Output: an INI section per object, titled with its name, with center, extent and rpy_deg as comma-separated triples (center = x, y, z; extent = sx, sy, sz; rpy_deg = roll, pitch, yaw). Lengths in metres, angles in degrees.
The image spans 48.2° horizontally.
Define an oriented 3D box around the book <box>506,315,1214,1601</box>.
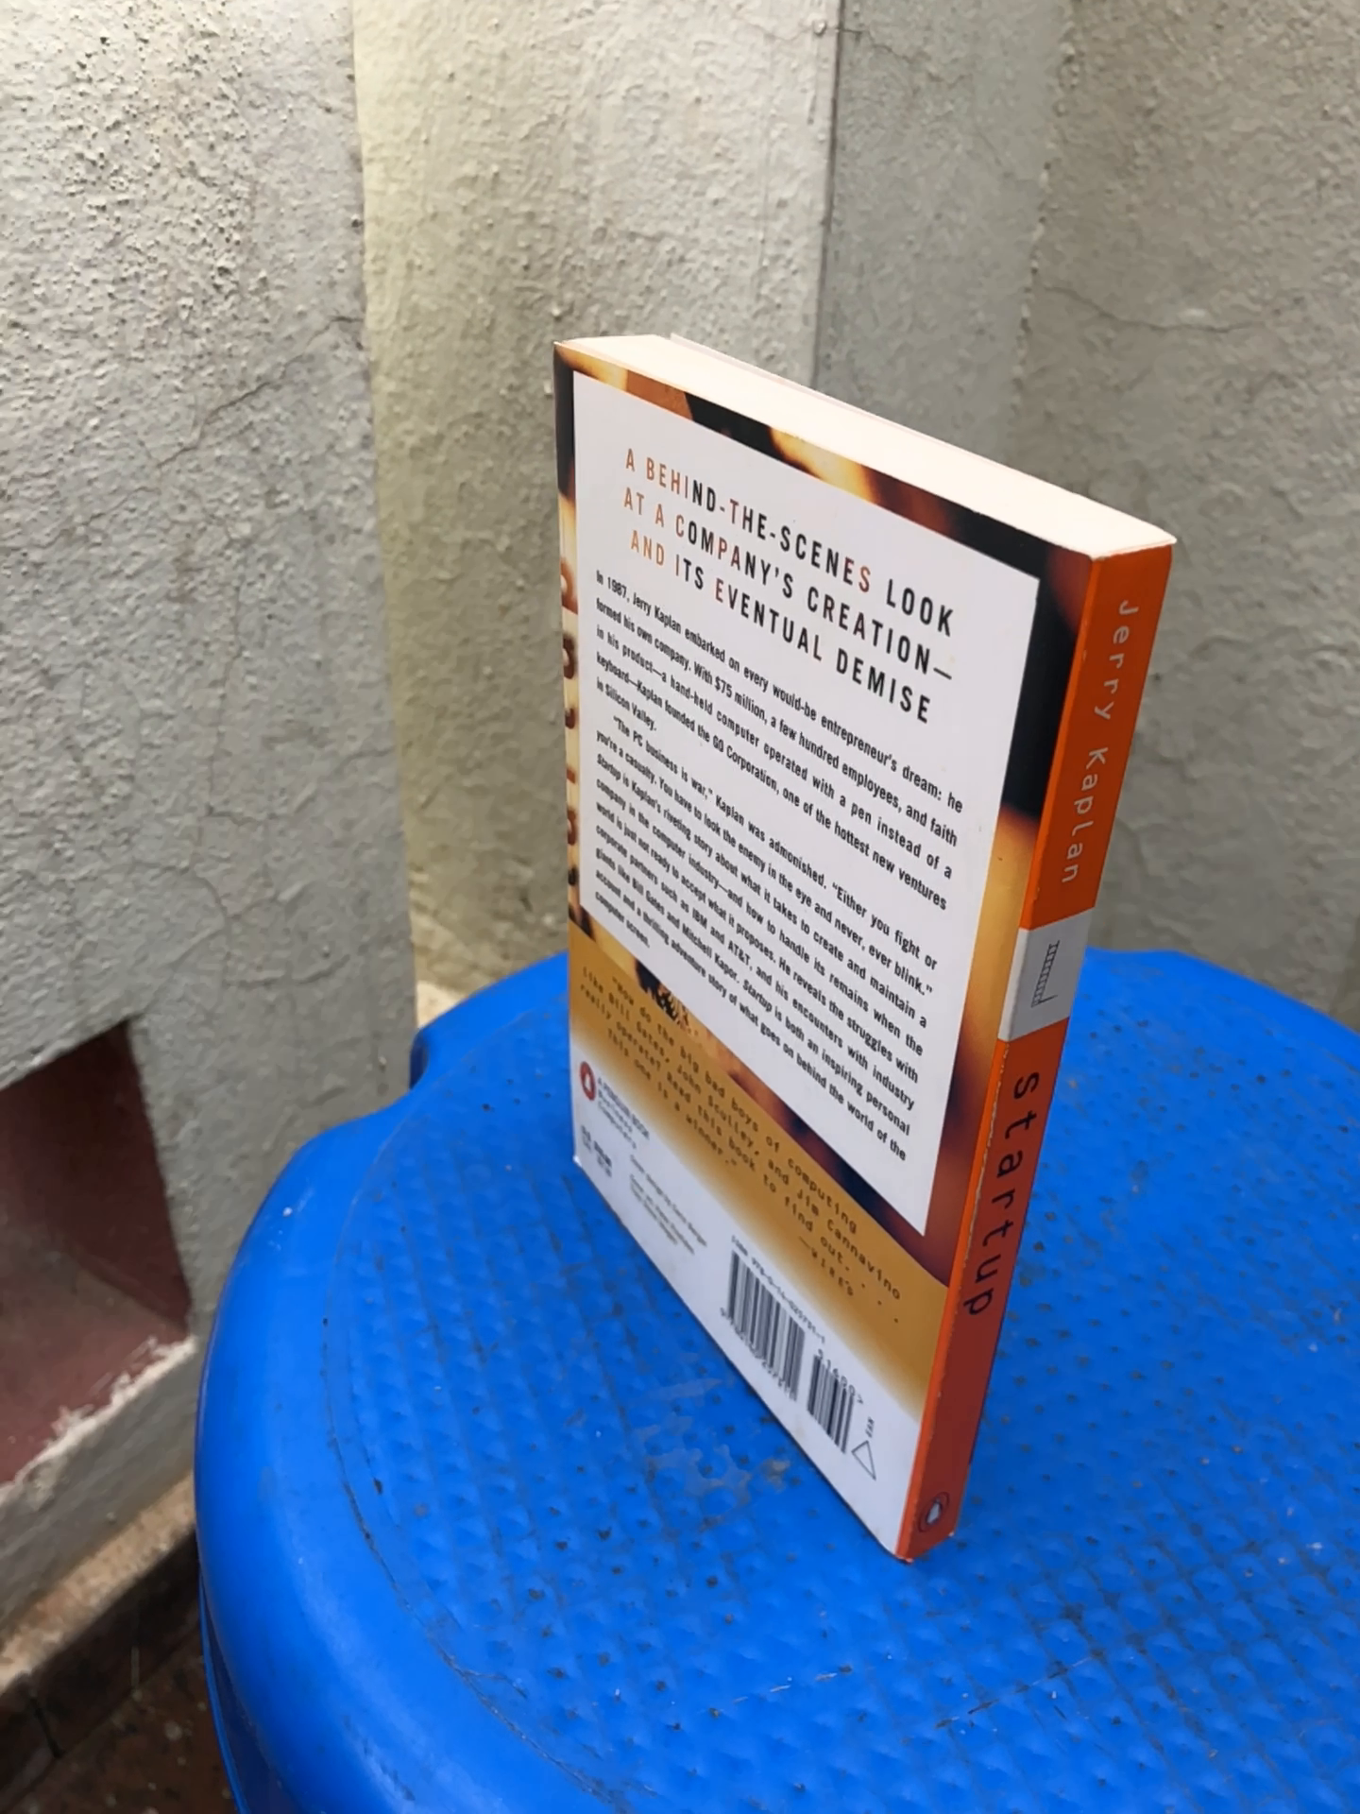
[book]
center = 0.014, 0.007, 0.287
extent = 0.030, 0.199, 0.140
rpy_deg = -16, 36, -28
